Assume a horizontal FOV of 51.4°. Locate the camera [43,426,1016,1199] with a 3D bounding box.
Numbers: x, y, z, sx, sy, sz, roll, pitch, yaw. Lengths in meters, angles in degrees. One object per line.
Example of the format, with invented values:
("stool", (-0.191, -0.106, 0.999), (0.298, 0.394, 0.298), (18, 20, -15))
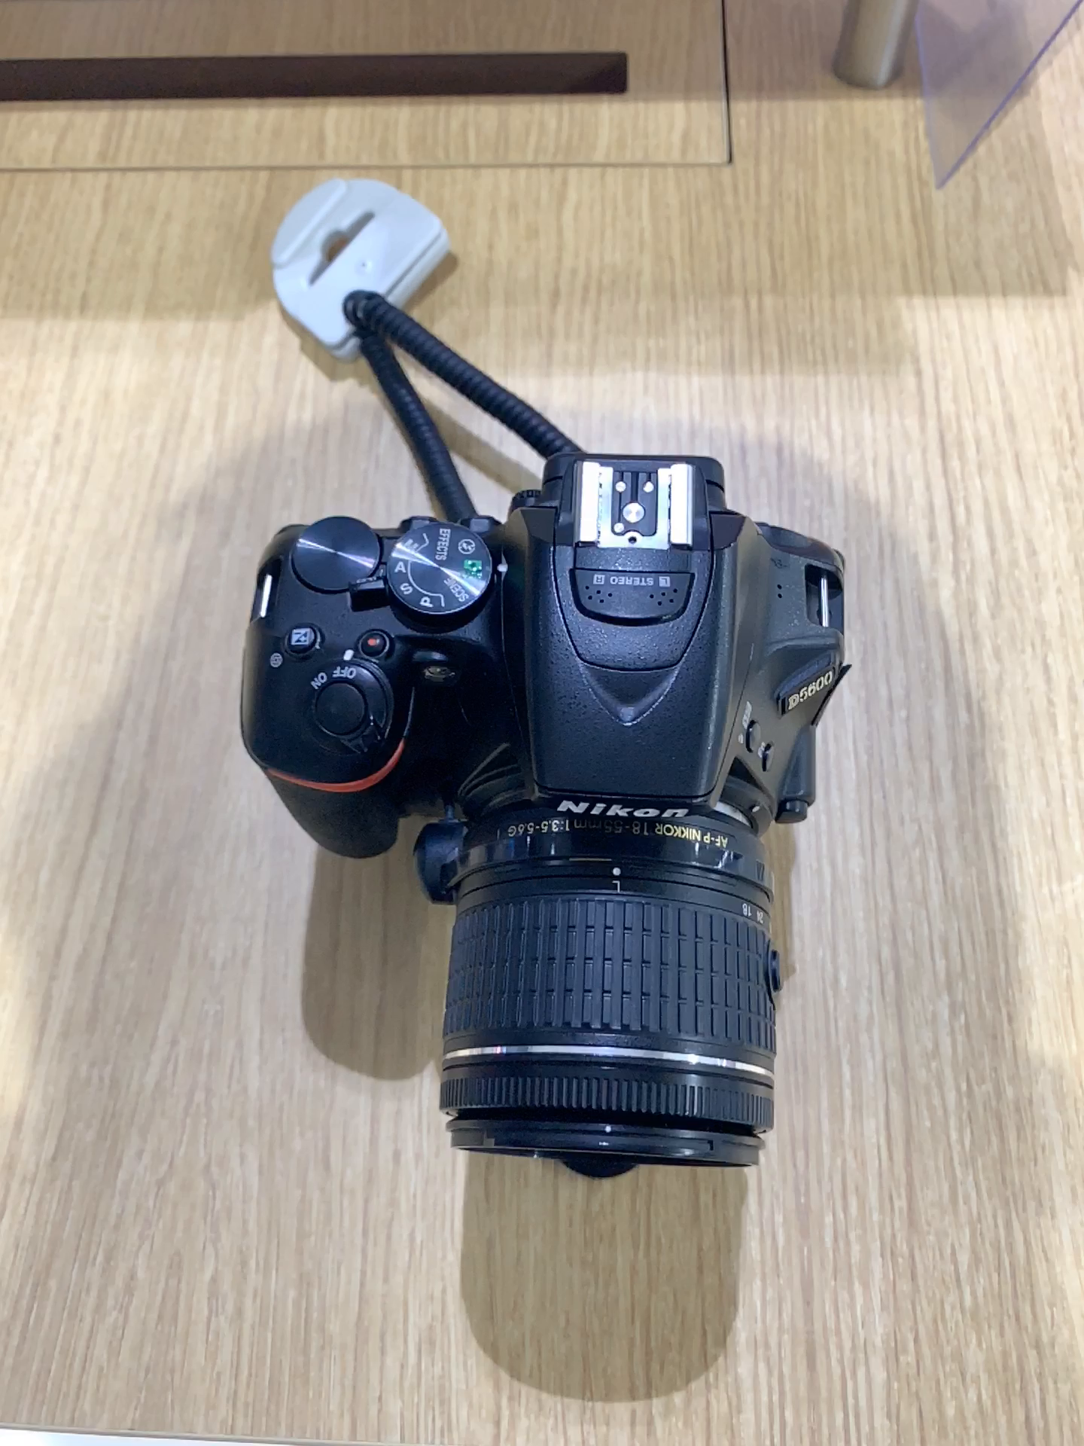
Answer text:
("camera", (0.001, 0.020, 0.203), (0.124, 0.080, 0.114), (2, 65, 2))
